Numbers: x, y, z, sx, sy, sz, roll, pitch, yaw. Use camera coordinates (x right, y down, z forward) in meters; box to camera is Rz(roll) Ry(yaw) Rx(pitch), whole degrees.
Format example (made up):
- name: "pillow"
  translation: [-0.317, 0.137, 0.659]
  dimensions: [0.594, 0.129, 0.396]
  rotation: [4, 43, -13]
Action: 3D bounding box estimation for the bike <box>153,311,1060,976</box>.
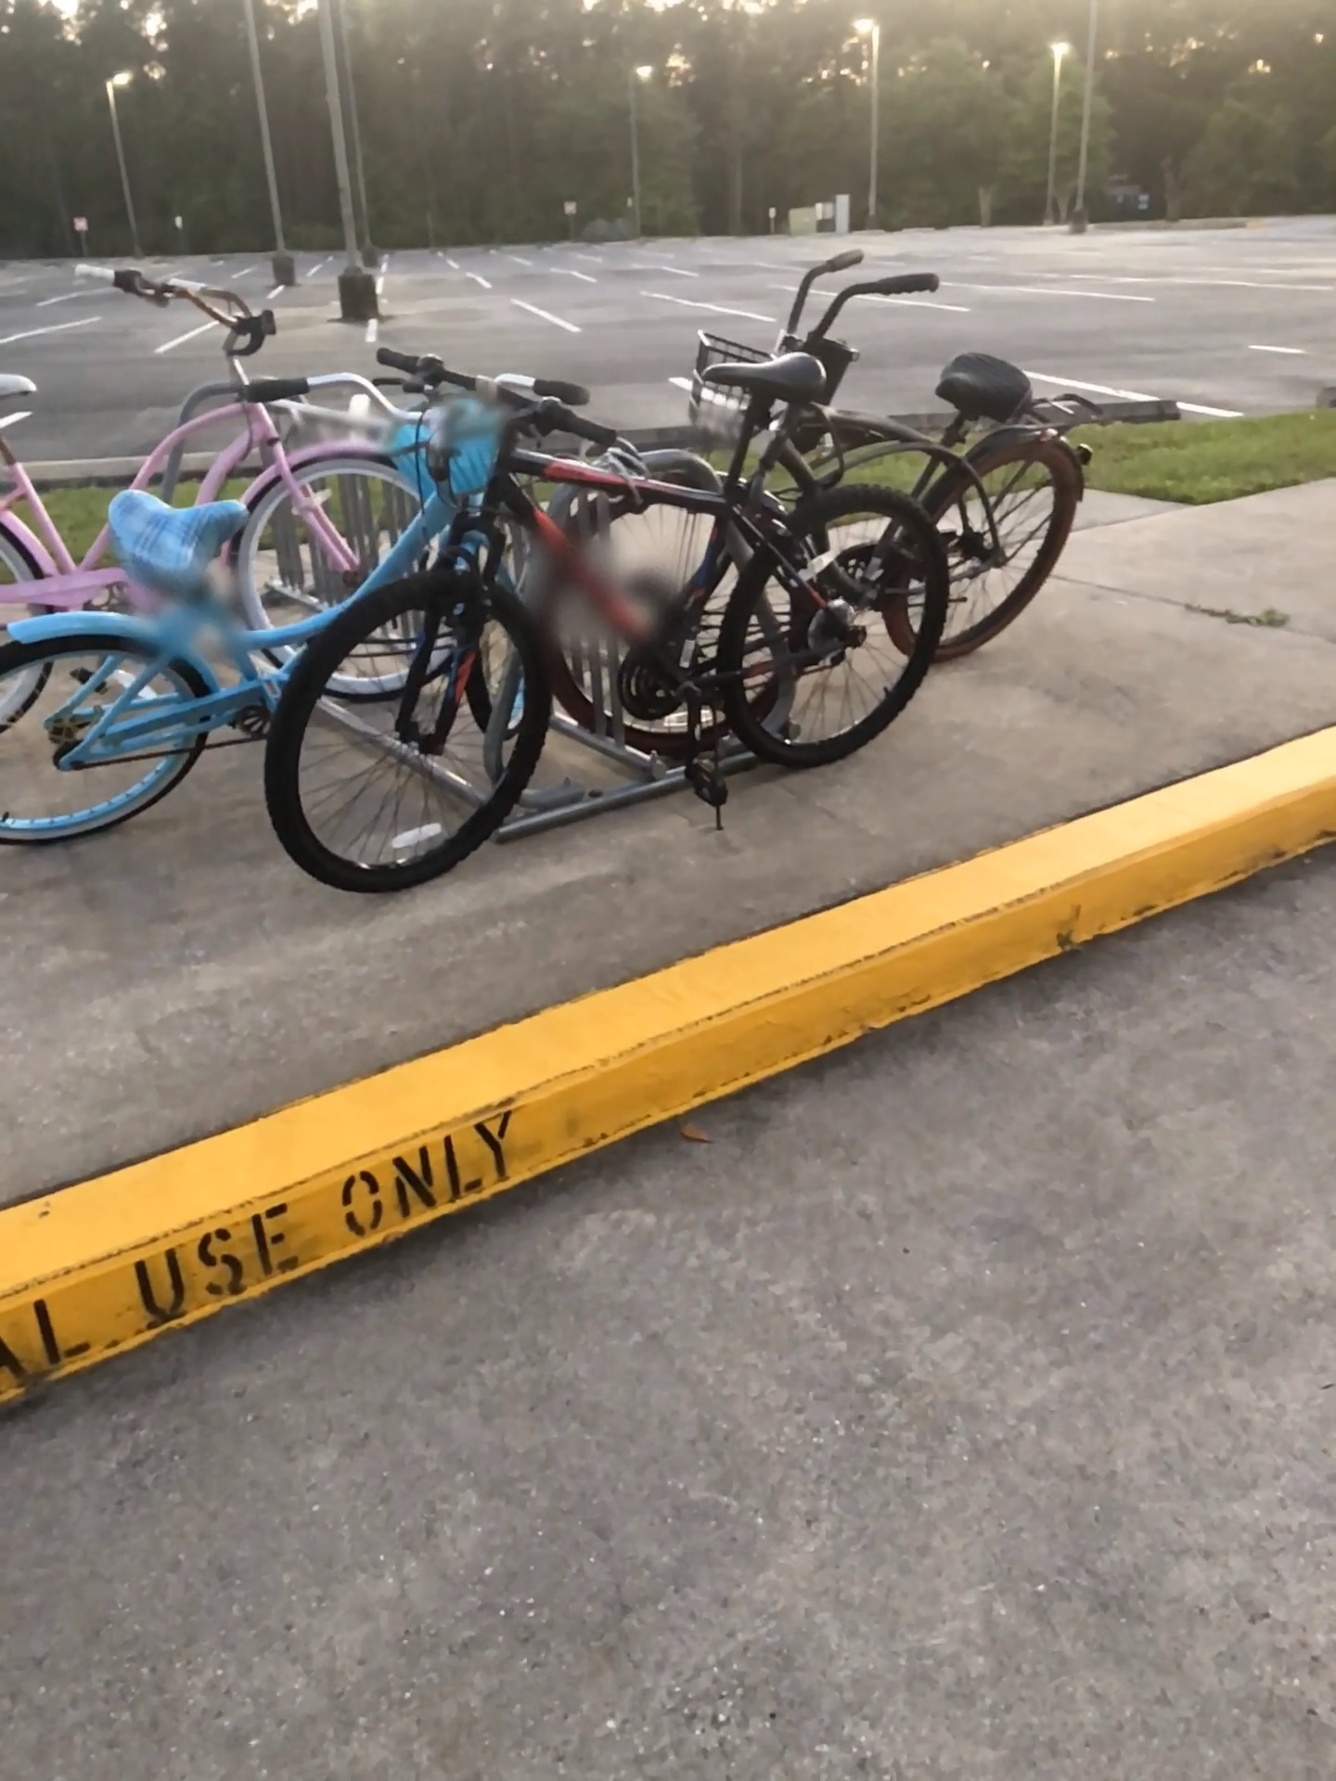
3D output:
- name: "bike"
  translation: [-0.022, -0.600, 2.875]
  dimensions: [1.633, 0.932, 0.626]
  rotation: [-19, 29, -34]
